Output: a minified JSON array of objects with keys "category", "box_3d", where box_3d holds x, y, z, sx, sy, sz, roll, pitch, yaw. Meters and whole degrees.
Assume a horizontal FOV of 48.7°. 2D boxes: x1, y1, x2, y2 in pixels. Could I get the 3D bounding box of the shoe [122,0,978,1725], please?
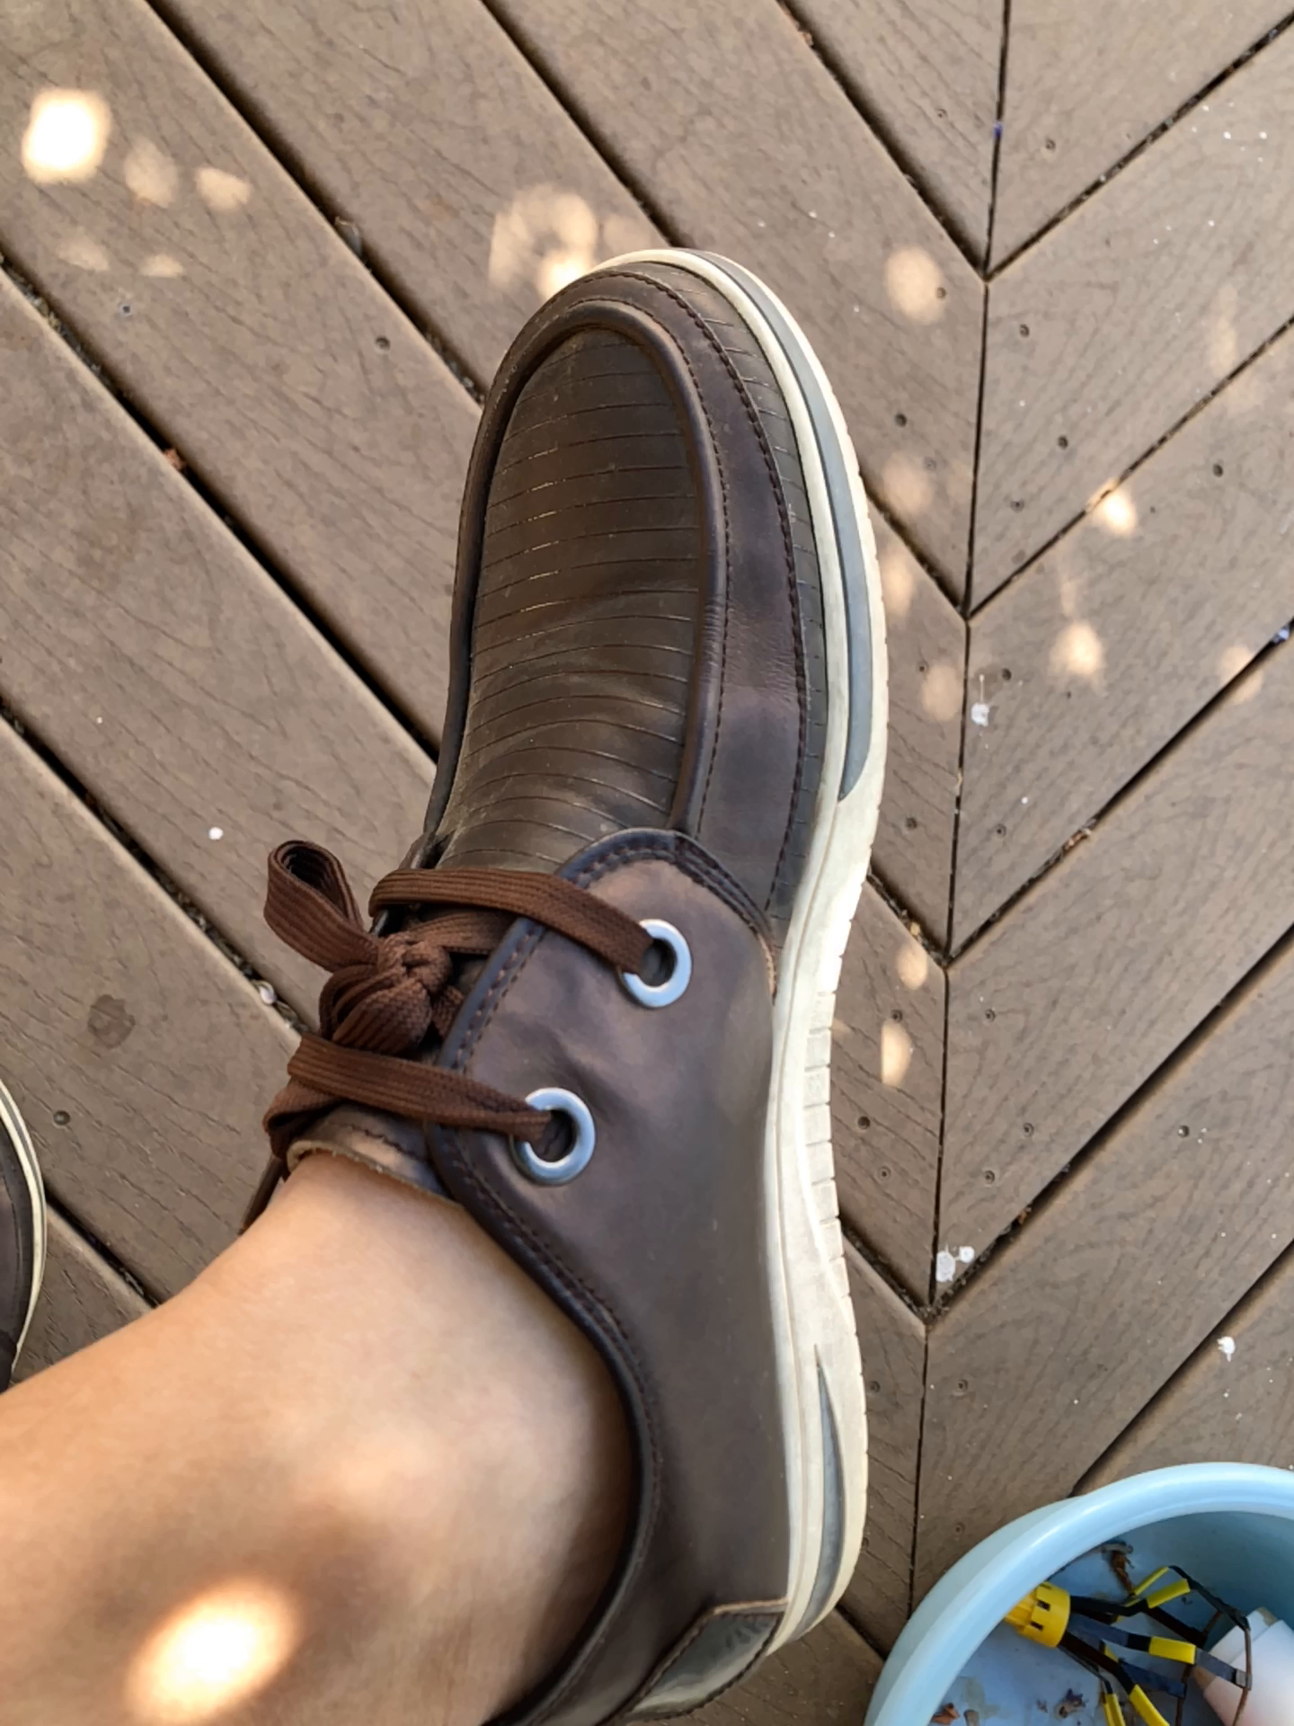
[{"category":"shoe","box_3d":[-0.014,0.015,0.264,0.102,0.097,0.274,4,89,-54]}]
